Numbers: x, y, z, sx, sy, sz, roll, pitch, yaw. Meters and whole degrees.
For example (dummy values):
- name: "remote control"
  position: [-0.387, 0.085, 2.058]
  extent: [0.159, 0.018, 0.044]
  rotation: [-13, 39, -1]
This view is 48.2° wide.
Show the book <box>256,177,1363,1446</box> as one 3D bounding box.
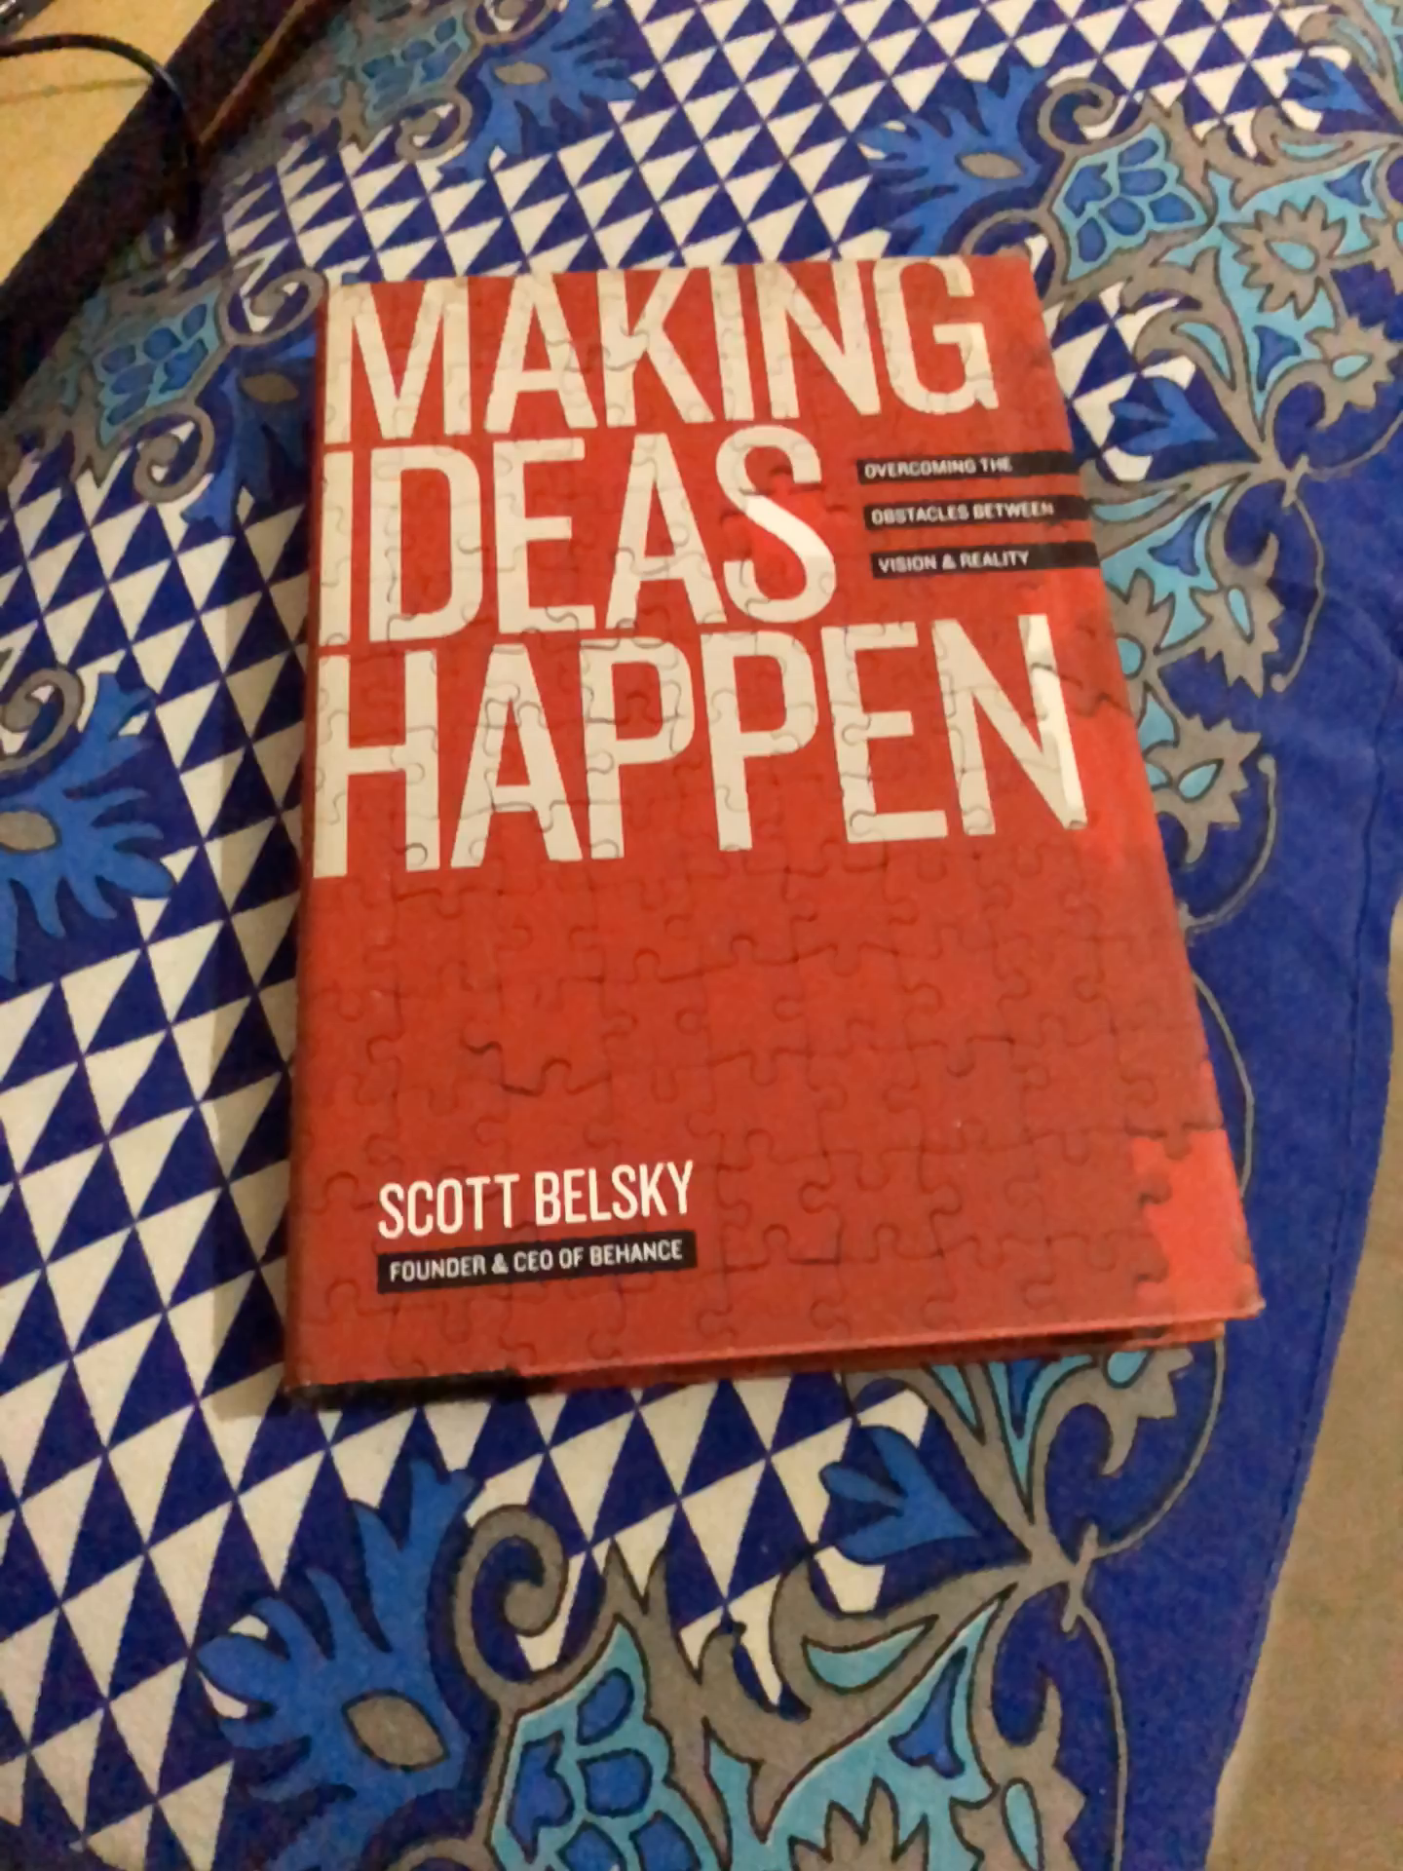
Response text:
- name: "book"
  position: [0.006, -0.043, 0.295]
  extent: [0.160, 0.030, 0.251]
  rotation: [-4, 63, -3]
